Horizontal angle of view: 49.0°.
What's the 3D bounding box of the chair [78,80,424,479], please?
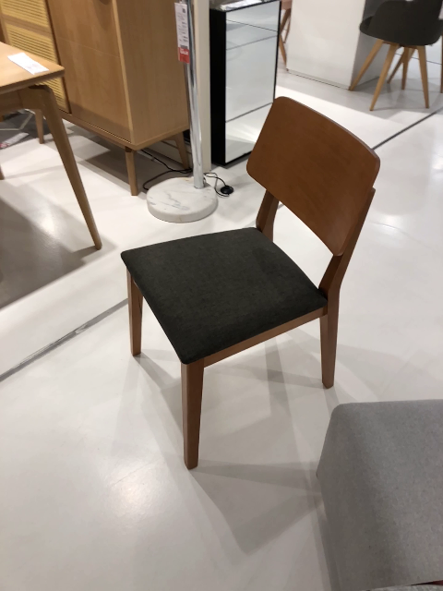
[{"bbox_3d":[0.036,-0.050,1.330,0.581,0.804,0.533,-17,44,-19],"label":"chair"}]
